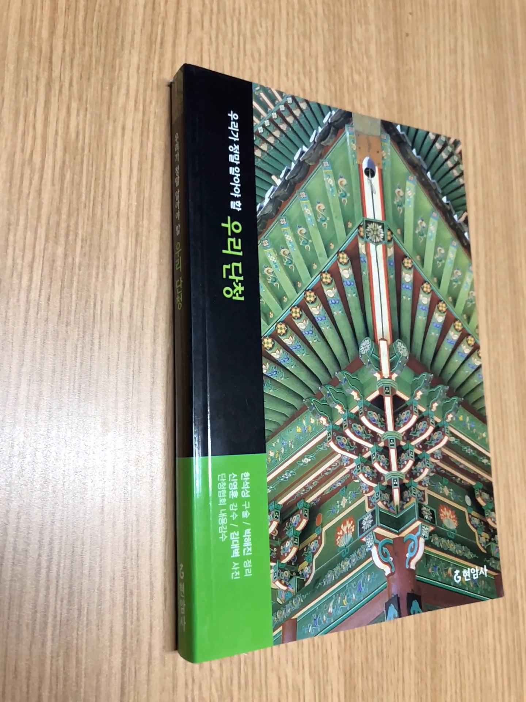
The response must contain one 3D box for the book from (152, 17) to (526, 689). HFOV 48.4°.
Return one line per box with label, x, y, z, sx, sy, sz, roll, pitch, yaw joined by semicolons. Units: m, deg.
book;0.039;-0.003;0.232;0.160;0.030;0.210;2;80;-29
